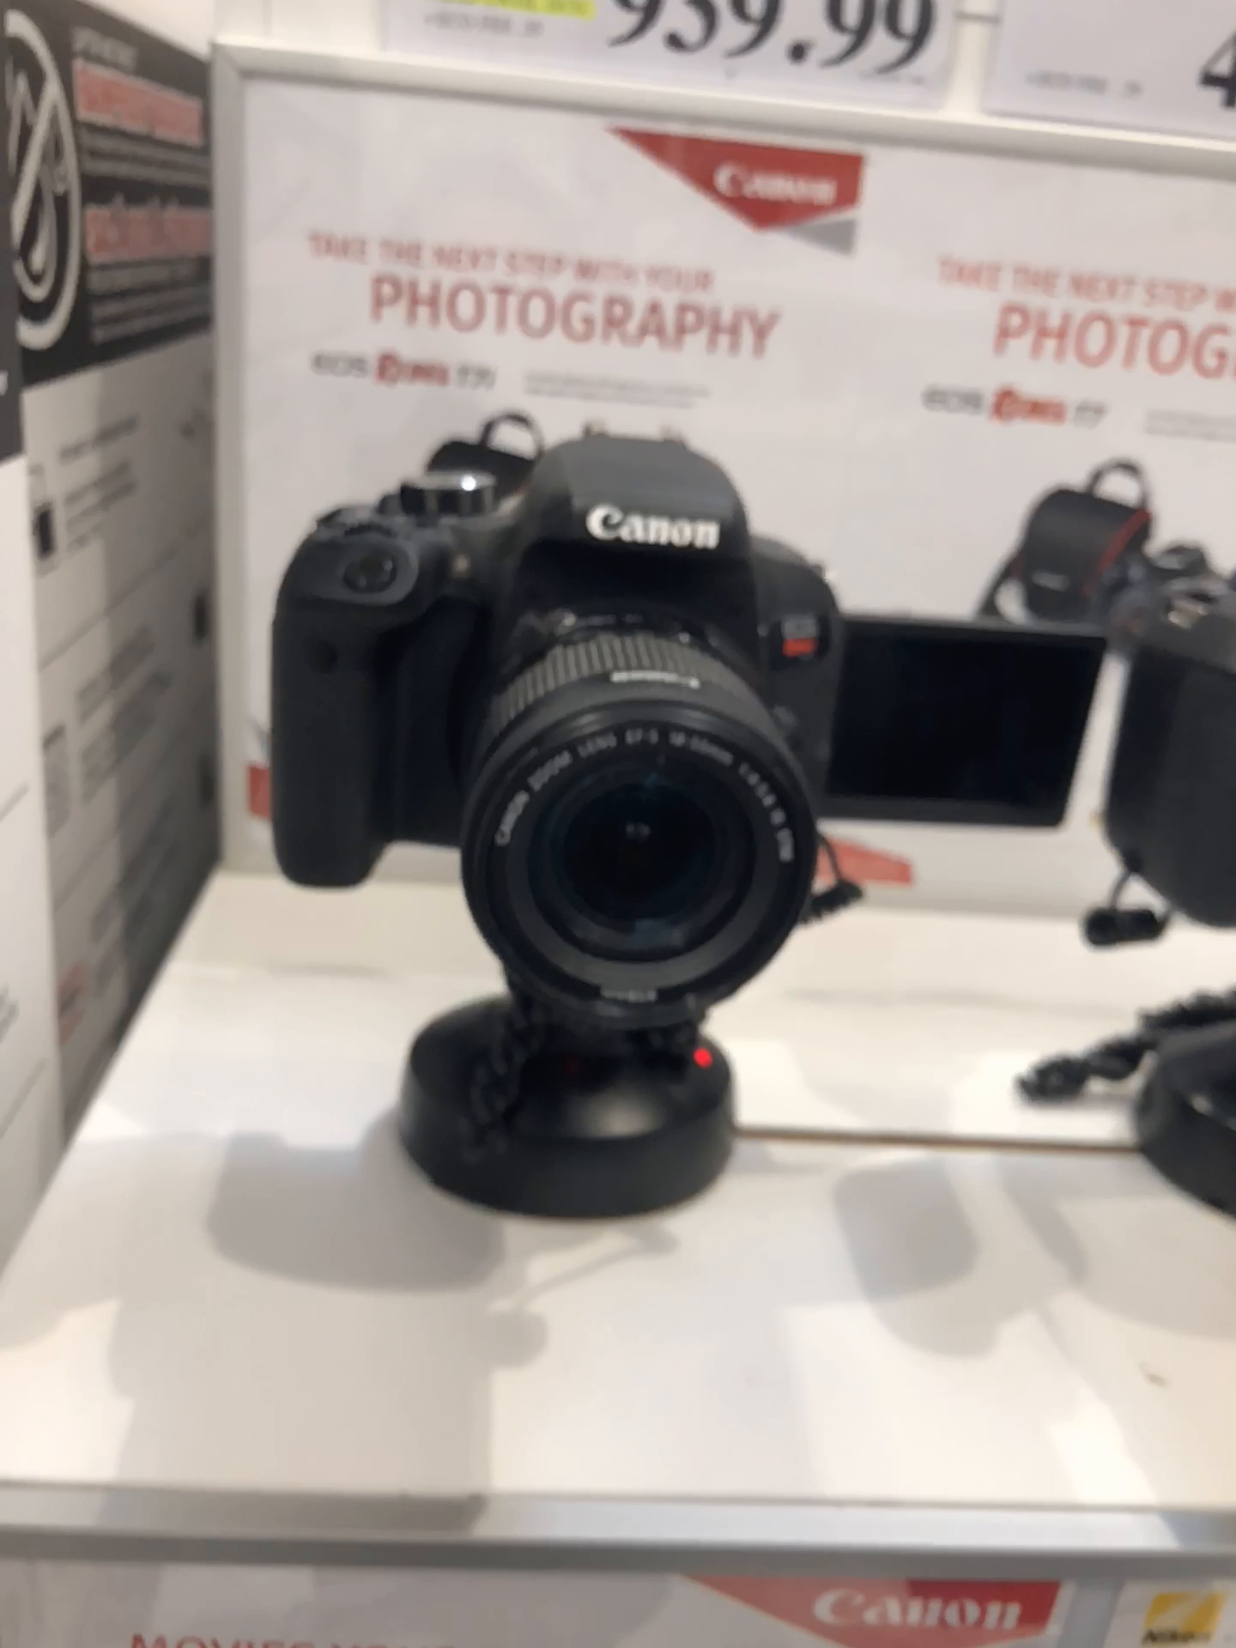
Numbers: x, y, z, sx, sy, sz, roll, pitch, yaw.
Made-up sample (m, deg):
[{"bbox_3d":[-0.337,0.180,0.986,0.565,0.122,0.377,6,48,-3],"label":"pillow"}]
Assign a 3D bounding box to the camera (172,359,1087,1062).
[{"bbox_3d":[-0.006,-0.035,0.299,0.140,0.099,0.151,3,22,-6],"label":"camera"}]
